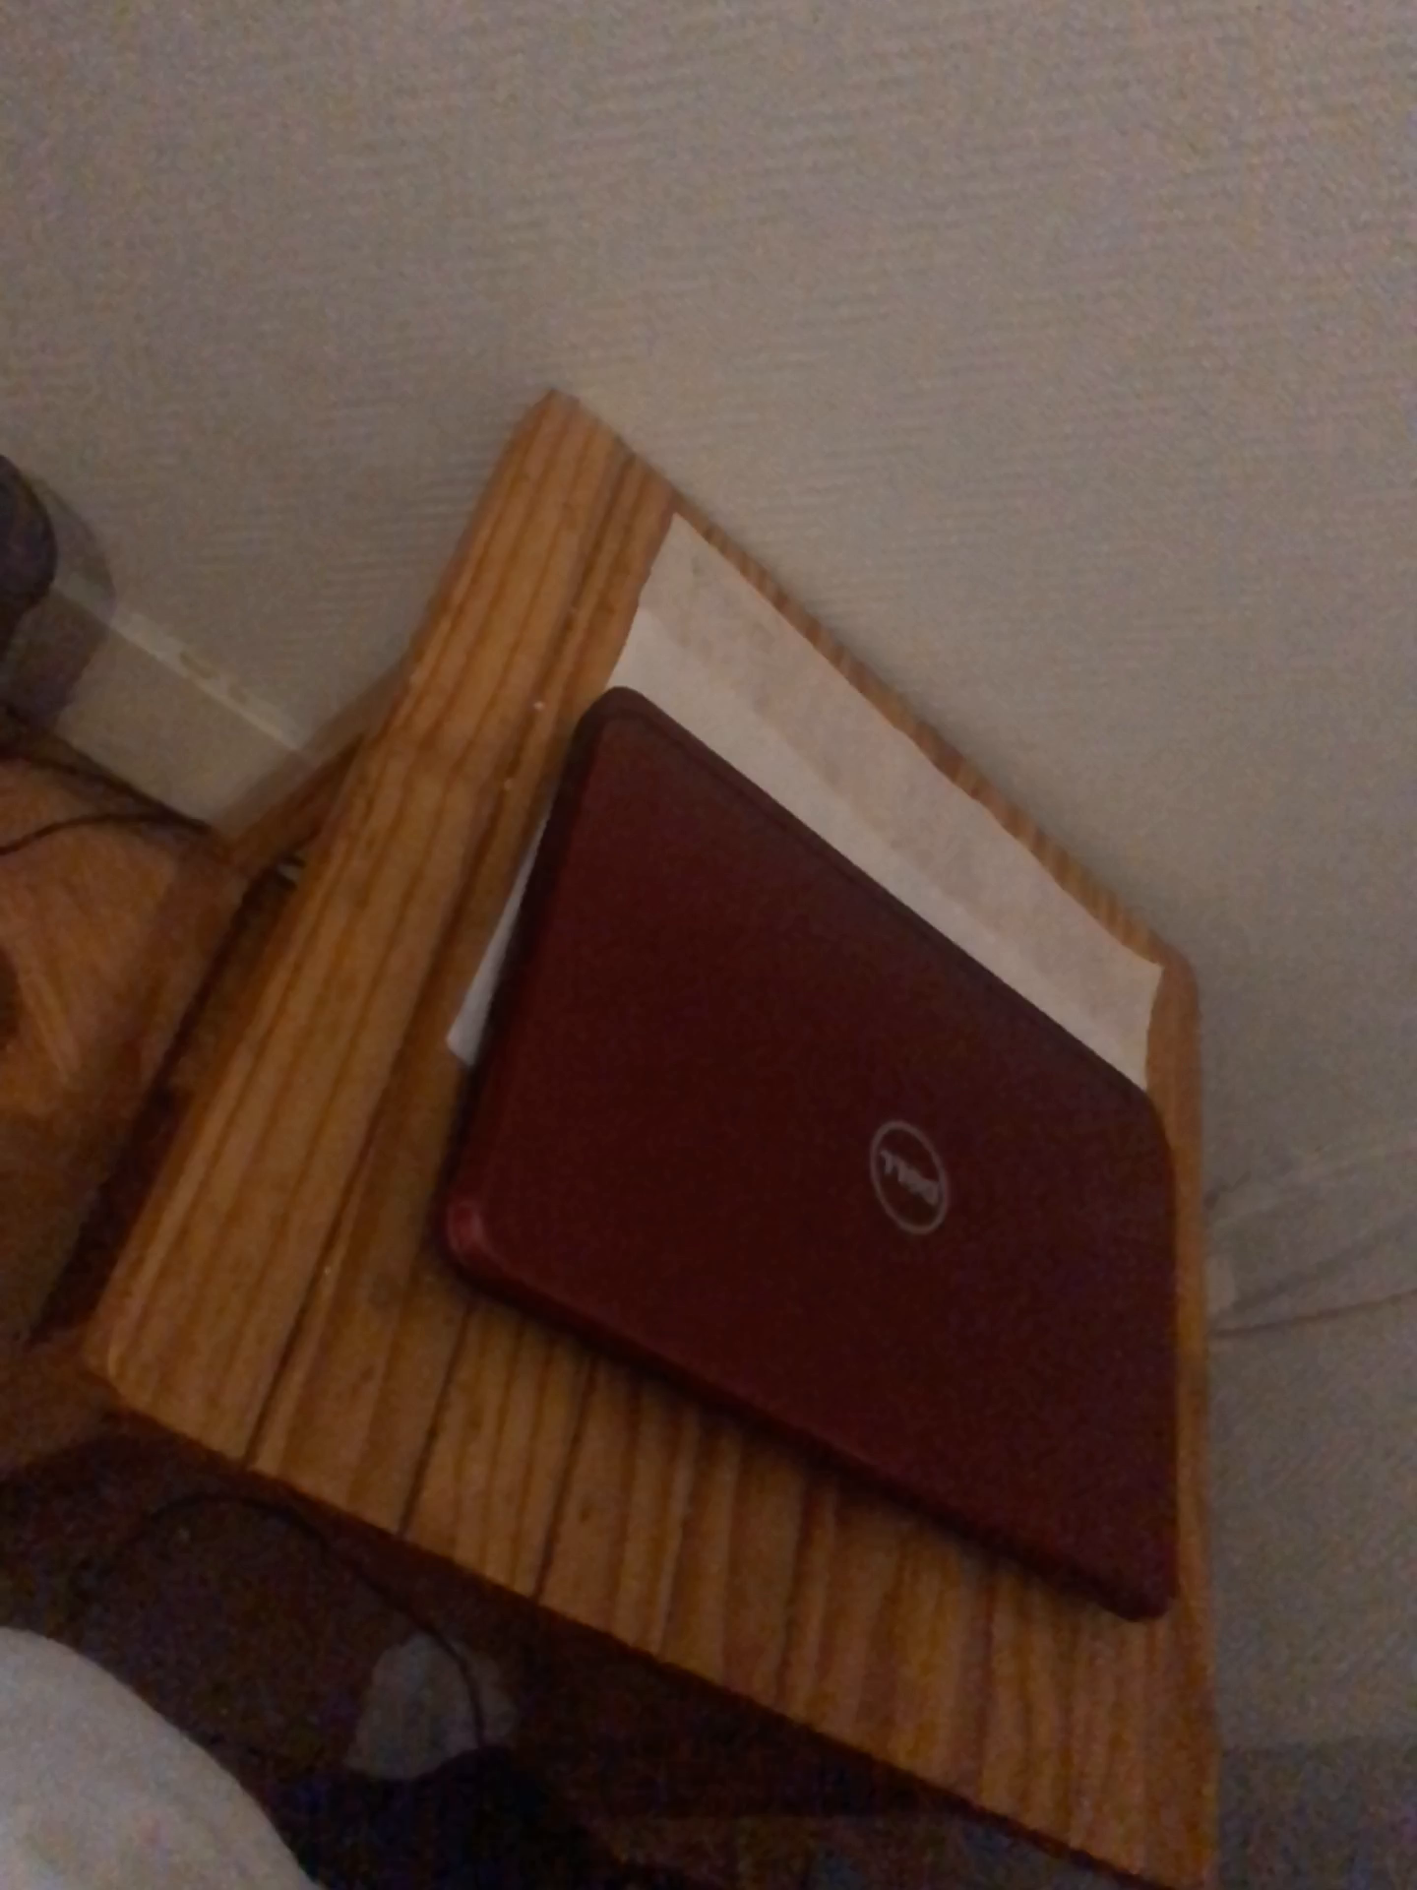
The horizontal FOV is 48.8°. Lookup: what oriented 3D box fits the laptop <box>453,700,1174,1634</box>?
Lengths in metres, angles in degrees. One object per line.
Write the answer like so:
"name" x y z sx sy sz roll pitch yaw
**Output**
"laptop" 0.079 0.095 0.638 0.366 0.011 0.247 36 48 -28
